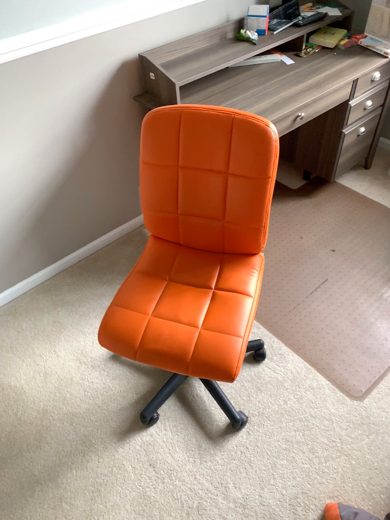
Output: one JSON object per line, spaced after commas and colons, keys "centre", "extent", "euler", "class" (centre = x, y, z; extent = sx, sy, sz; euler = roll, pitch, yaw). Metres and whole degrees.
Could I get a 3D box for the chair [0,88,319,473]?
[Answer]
{"centre": [-0.059, 0.085, 1.210], "extent": [0.593, 0.905, 0.603], "euler": [15, 49, 17], "class": "chair"}
